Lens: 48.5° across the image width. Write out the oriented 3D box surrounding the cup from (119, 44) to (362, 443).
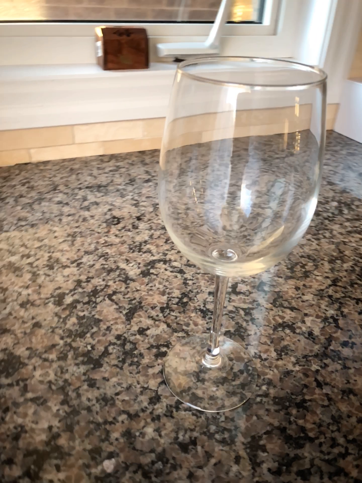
[{"bbox_3d":[0.024,0.004,0.251,0.095,0.217,0.098,2,33,-1],"label":"cup"}]
